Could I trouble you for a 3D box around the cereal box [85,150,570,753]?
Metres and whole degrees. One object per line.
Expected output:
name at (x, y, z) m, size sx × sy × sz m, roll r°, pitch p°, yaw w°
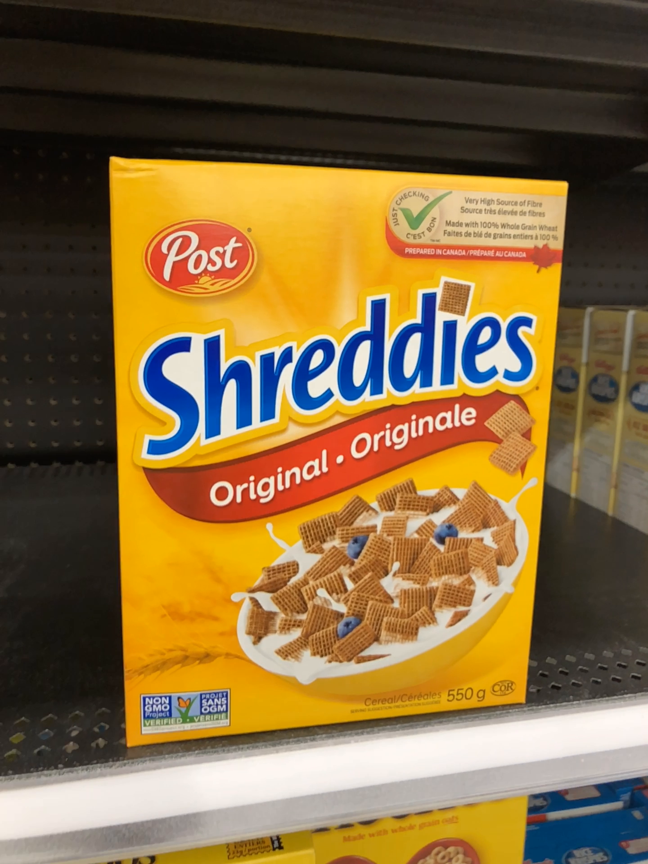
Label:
cereal box at (-0.002, 0.008, 0.361) m, size 0.210 × 0.259 × 0.070 m, roll -1°, pitch 11°, yaw -14°
